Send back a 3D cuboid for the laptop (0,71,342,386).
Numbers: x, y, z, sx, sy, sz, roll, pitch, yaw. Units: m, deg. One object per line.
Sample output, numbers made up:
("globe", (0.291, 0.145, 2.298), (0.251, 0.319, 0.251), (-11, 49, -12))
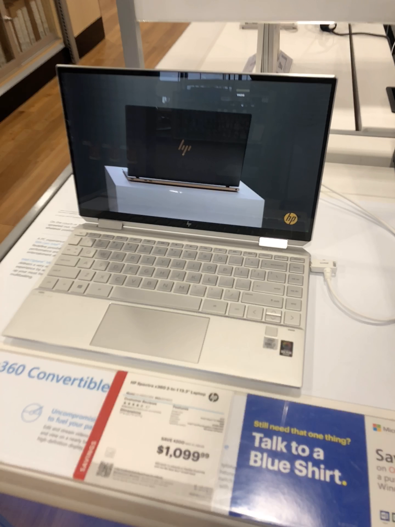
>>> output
("laptop", (-0.032, -0.054, 0.433), (0.303, 0.184, 0.228), (8, 44, 12))
